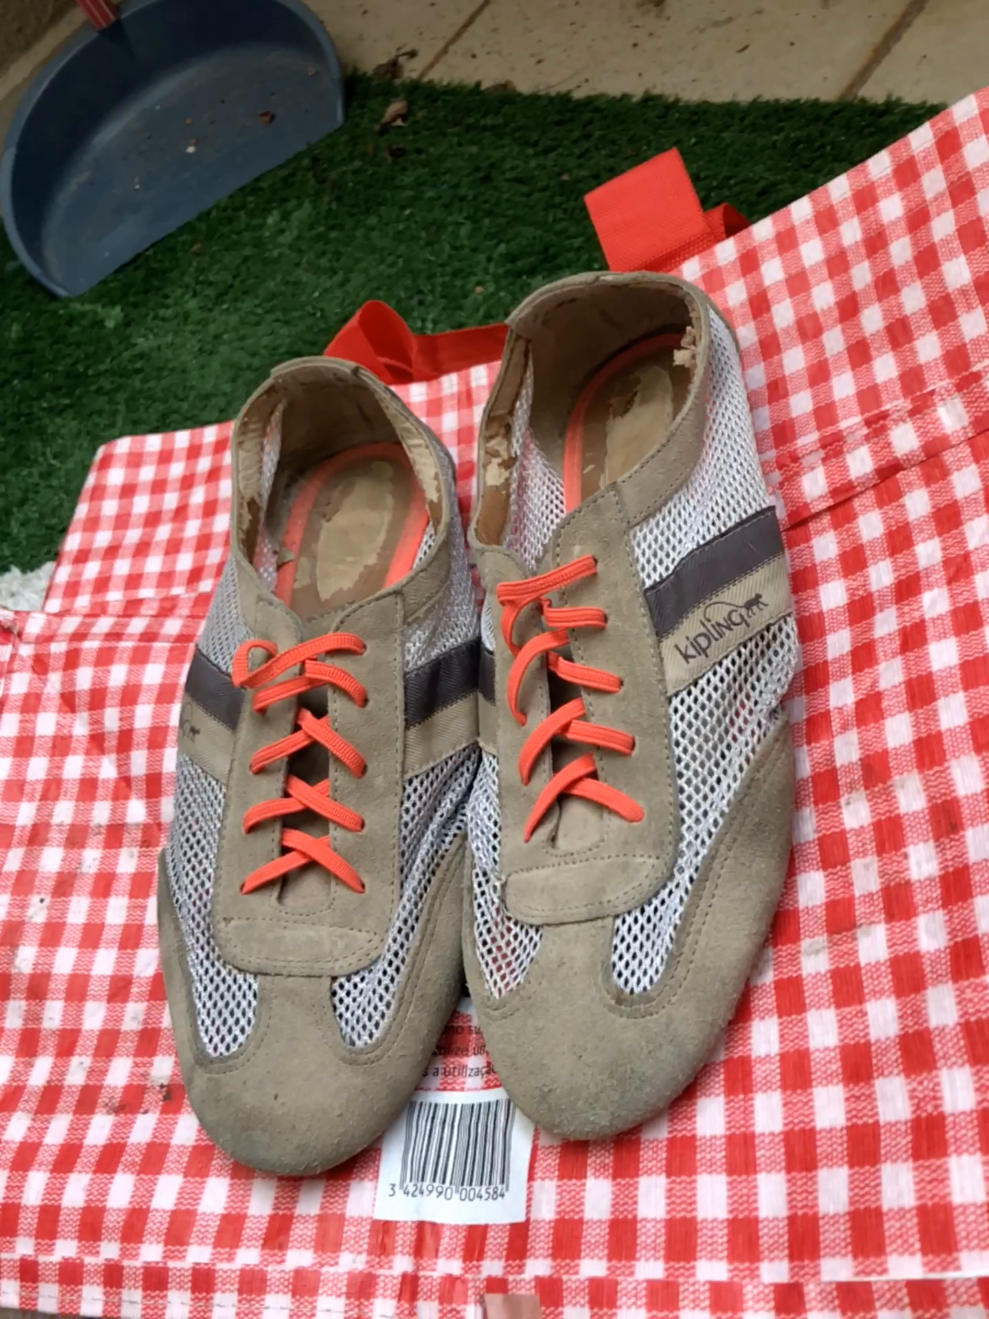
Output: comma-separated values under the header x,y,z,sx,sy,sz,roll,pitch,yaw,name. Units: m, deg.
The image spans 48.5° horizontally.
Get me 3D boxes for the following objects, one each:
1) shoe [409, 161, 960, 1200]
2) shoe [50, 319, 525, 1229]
x,y,z,sx,sy,sz,roll,pitch,yaw,name
0.033,0.004,0.273,0.100,0.050,0.231,-21,61,37,shoe
-0.049,0.022,0.309,0.100,0.050,0.241,-5,66,7,shoe
